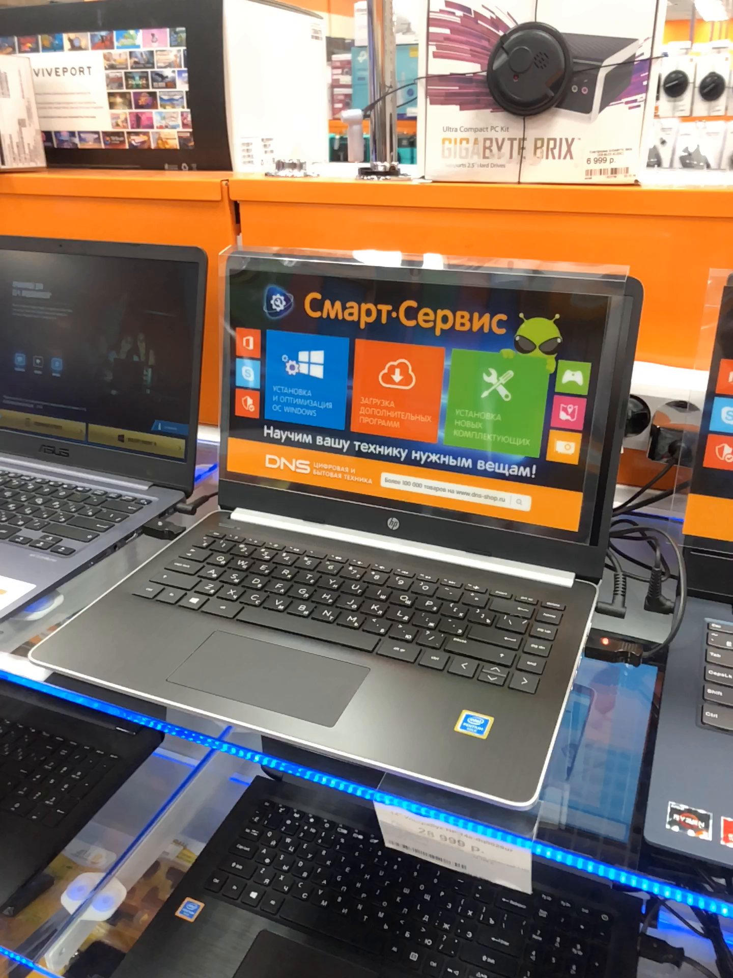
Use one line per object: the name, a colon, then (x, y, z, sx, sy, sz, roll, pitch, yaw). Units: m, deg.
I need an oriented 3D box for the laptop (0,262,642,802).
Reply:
laptop: (-0.014, -0.014, 0.519, 0.313, 0.197, 0.268, 9, 27, 21)

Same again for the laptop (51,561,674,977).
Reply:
laptop: (0.014, 0.251, 0.609, 0.363, 0.245, 0.252, 9, 26, 22)

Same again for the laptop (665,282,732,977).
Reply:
laptop: (0.307, 0.036, 0.375, 0.276, 0.205, 0.249, 9, 27, 24)

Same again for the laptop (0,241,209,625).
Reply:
laptop: (-0.341, -0.081, 0.673, 0.313, 0.199, 0.280, 10, 25, 20)
